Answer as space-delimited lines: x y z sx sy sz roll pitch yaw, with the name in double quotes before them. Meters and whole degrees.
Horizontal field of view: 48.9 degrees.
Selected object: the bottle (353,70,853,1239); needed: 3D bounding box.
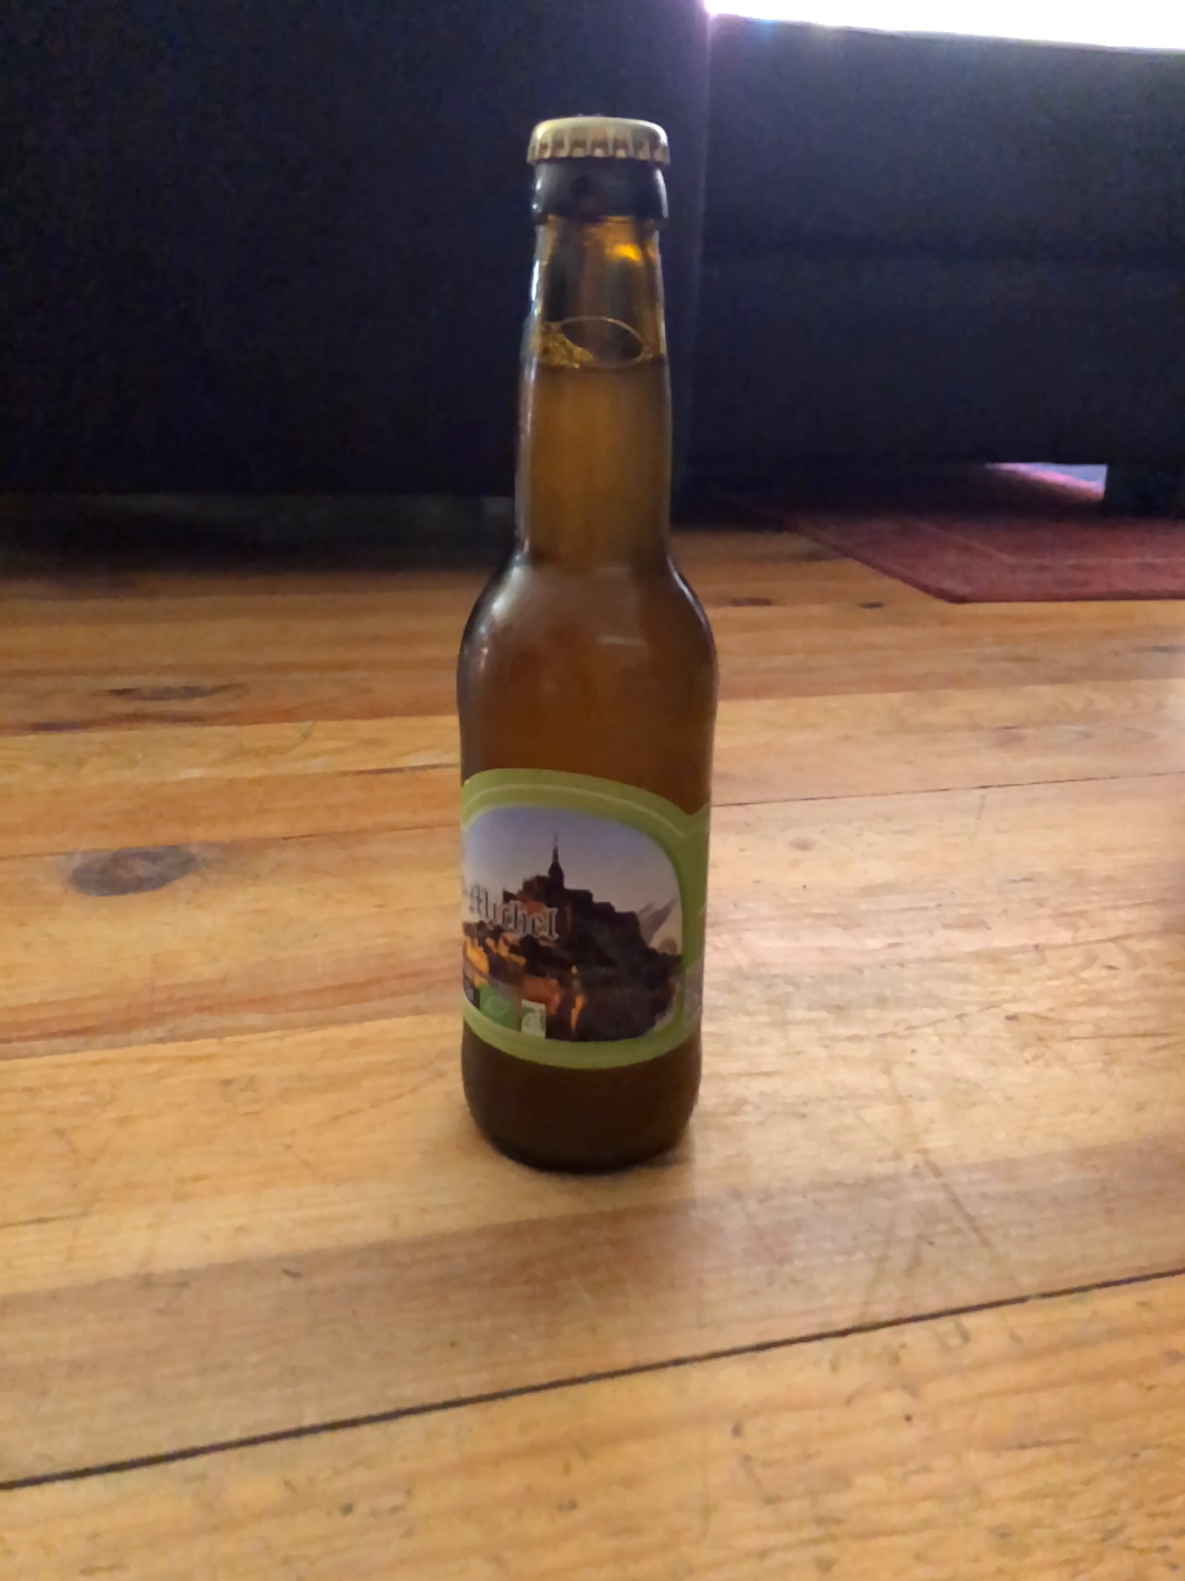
"bottle" 0.000 -0.026 0.296 0.070 0.229 0.070 1 20 0
